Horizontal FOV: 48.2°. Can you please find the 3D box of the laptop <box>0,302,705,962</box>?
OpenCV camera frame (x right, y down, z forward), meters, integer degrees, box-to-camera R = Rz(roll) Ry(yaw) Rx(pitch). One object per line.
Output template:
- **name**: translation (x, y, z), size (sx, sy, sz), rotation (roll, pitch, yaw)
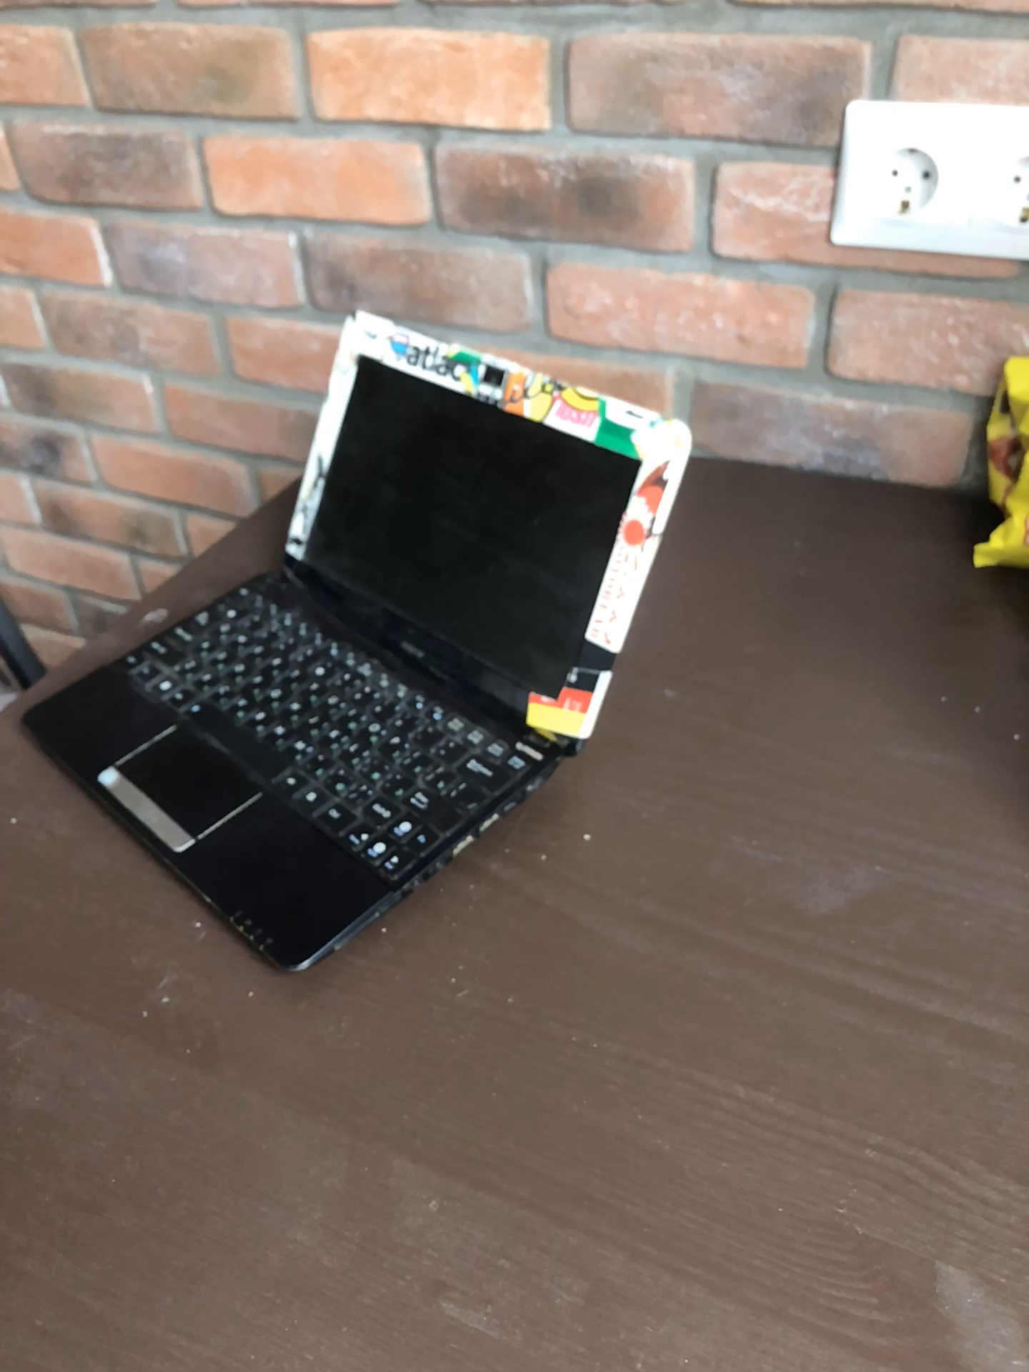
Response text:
- **laptop**: translation (-0.096, -0.056, 0.584), size (0.268, 0.140, 0.258), rotation (-33, 46, -30)
